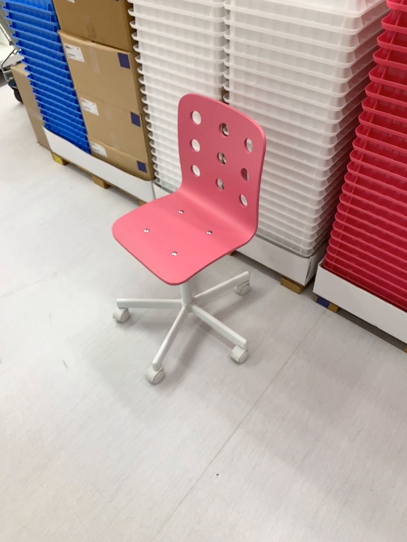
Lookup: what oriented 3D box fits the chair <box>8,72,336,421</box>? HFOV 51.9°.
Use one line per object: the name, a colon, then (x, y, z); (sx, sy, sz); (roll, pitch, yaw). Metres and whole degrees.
chair: (-0.062, -0.077, 1.276); (0.581, 0.708, 0.551); (-37, 55, -26)
